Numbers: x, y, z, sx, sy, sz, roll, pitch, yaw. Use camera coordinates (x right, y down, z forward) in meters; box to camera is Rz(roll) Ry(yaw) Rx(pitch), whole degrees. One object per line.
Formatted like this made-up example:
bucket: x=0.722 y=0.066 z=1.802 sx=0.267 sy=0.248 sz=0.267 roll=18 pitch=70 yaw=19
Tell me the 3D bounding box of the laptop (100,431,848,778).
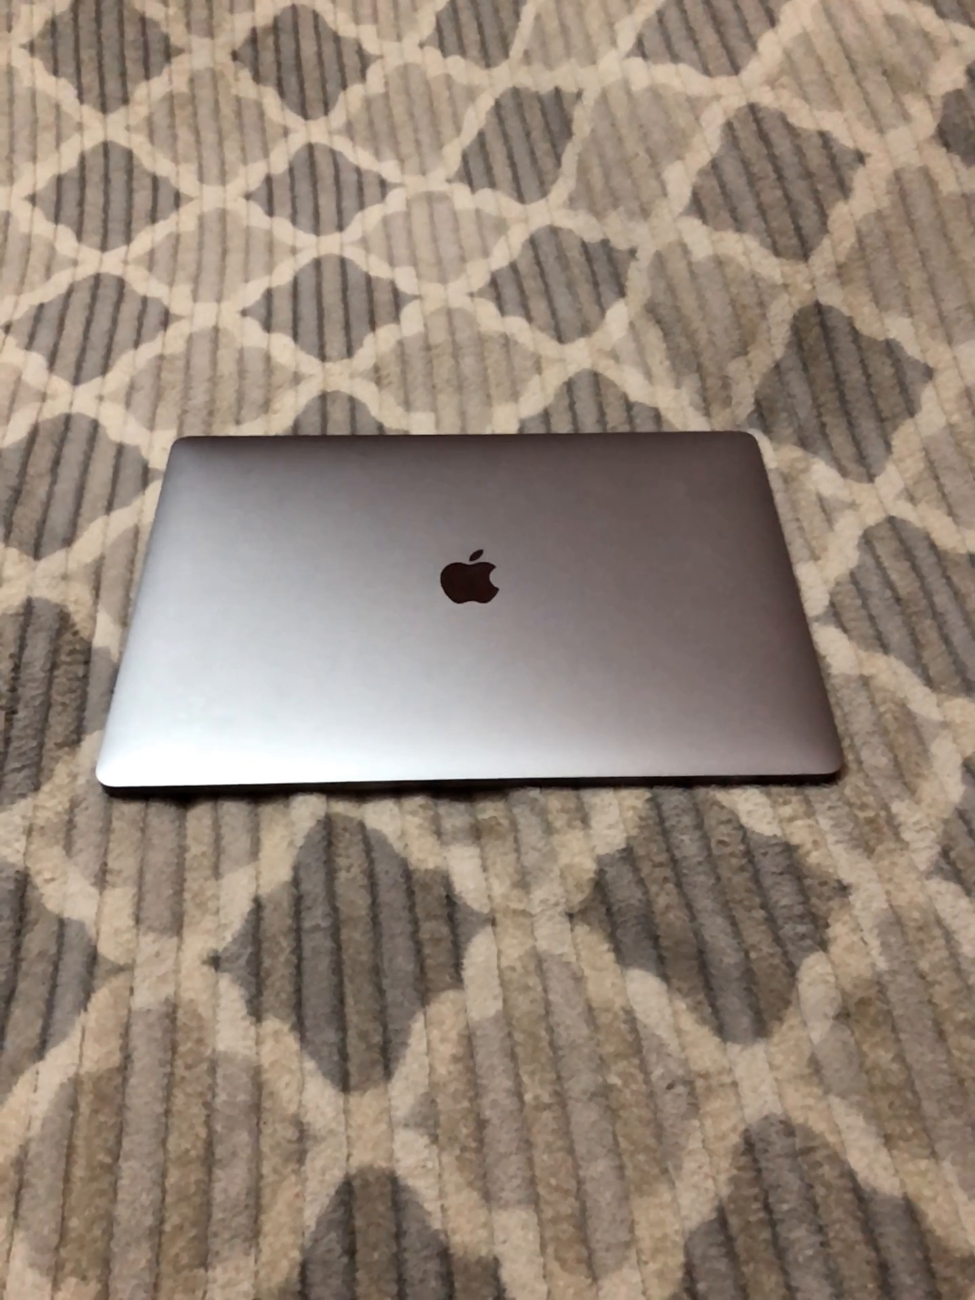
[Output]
laptop: x=-0.010 y=-0.037 z=0.593 sx=0.358 sy=0.007 sz=0.247 roll=-1 pitch=51 yaw=-1
